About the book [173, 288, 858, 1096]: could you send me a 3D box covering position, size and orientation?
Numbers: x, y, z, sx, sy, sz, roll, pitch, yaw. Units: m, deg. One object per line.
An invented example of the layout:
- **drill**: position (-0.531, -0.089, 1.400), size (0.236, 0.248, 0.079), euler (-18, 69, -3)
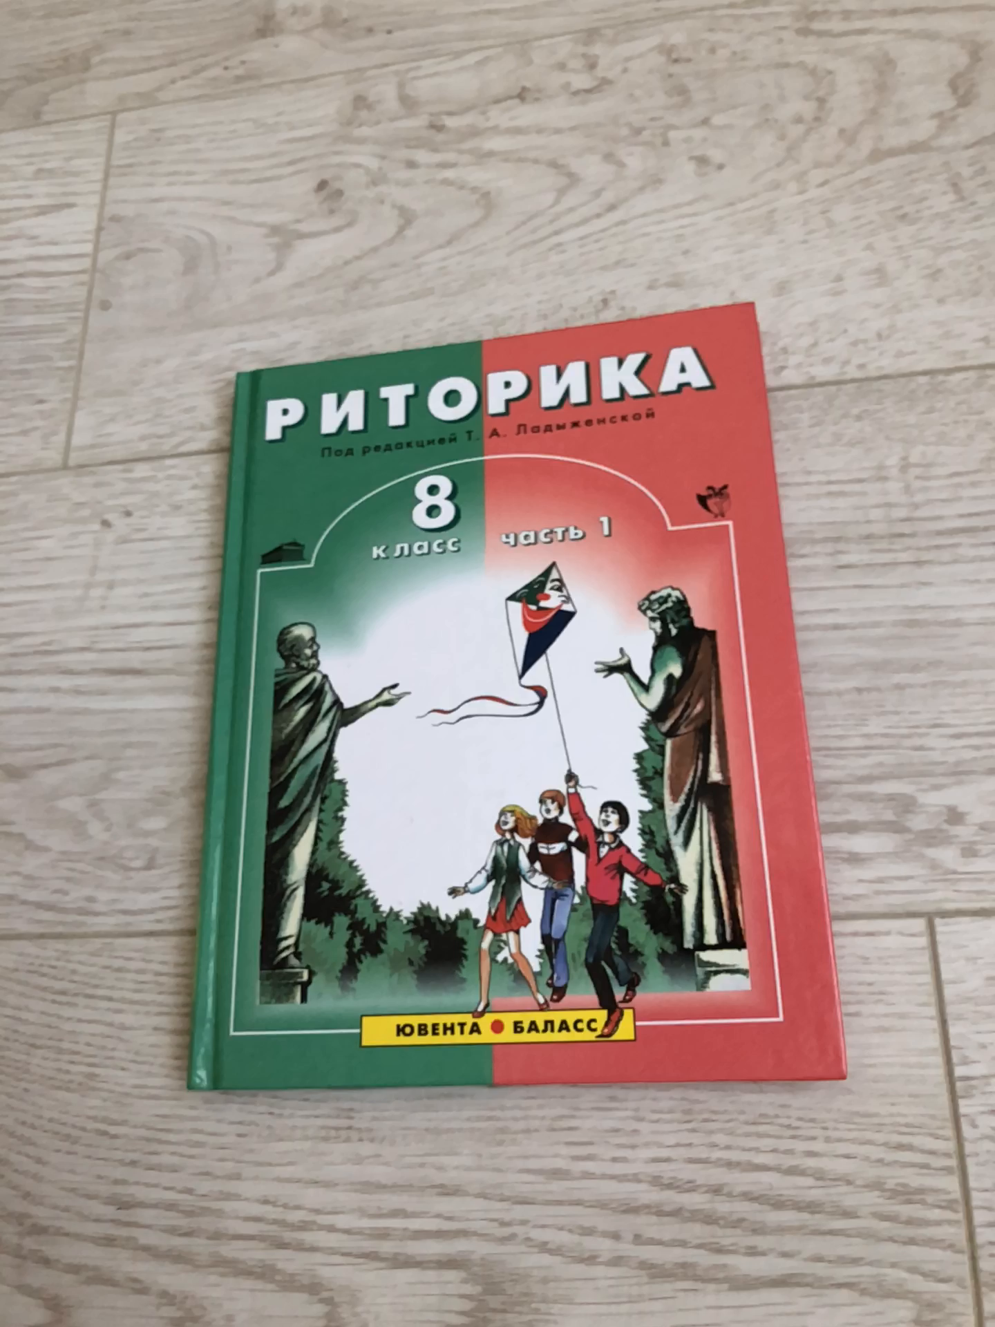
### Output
- **book**: position (-0.001, 0.003, 0.318), size (0.170, 0.020, 0.223), euler (-5, 70, 10)
